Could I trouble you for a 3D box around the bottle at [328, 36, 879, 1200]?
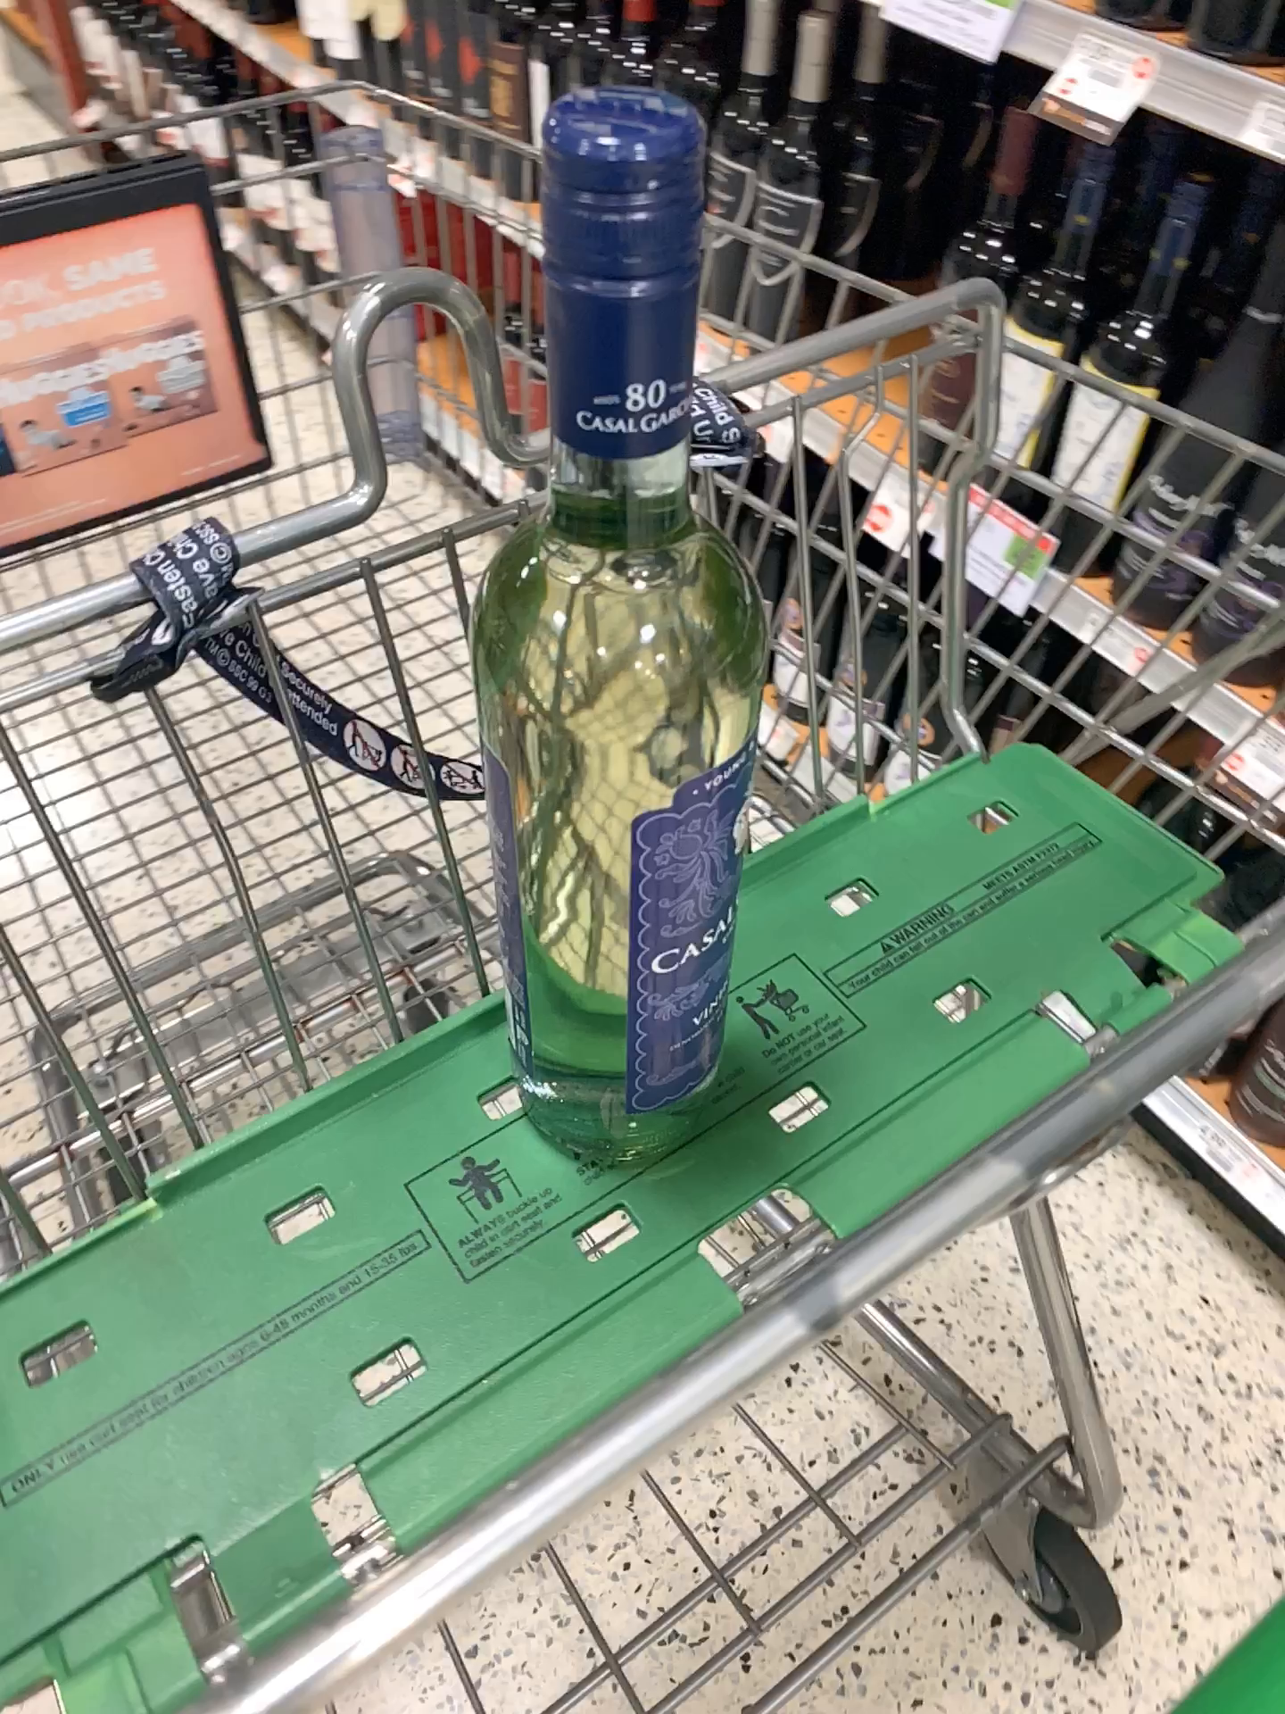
[{"bbox_3d":[-0.004,-0.028,0.341,0.080,0.297,0.081,0,47,0],"label":"bottle"}]
